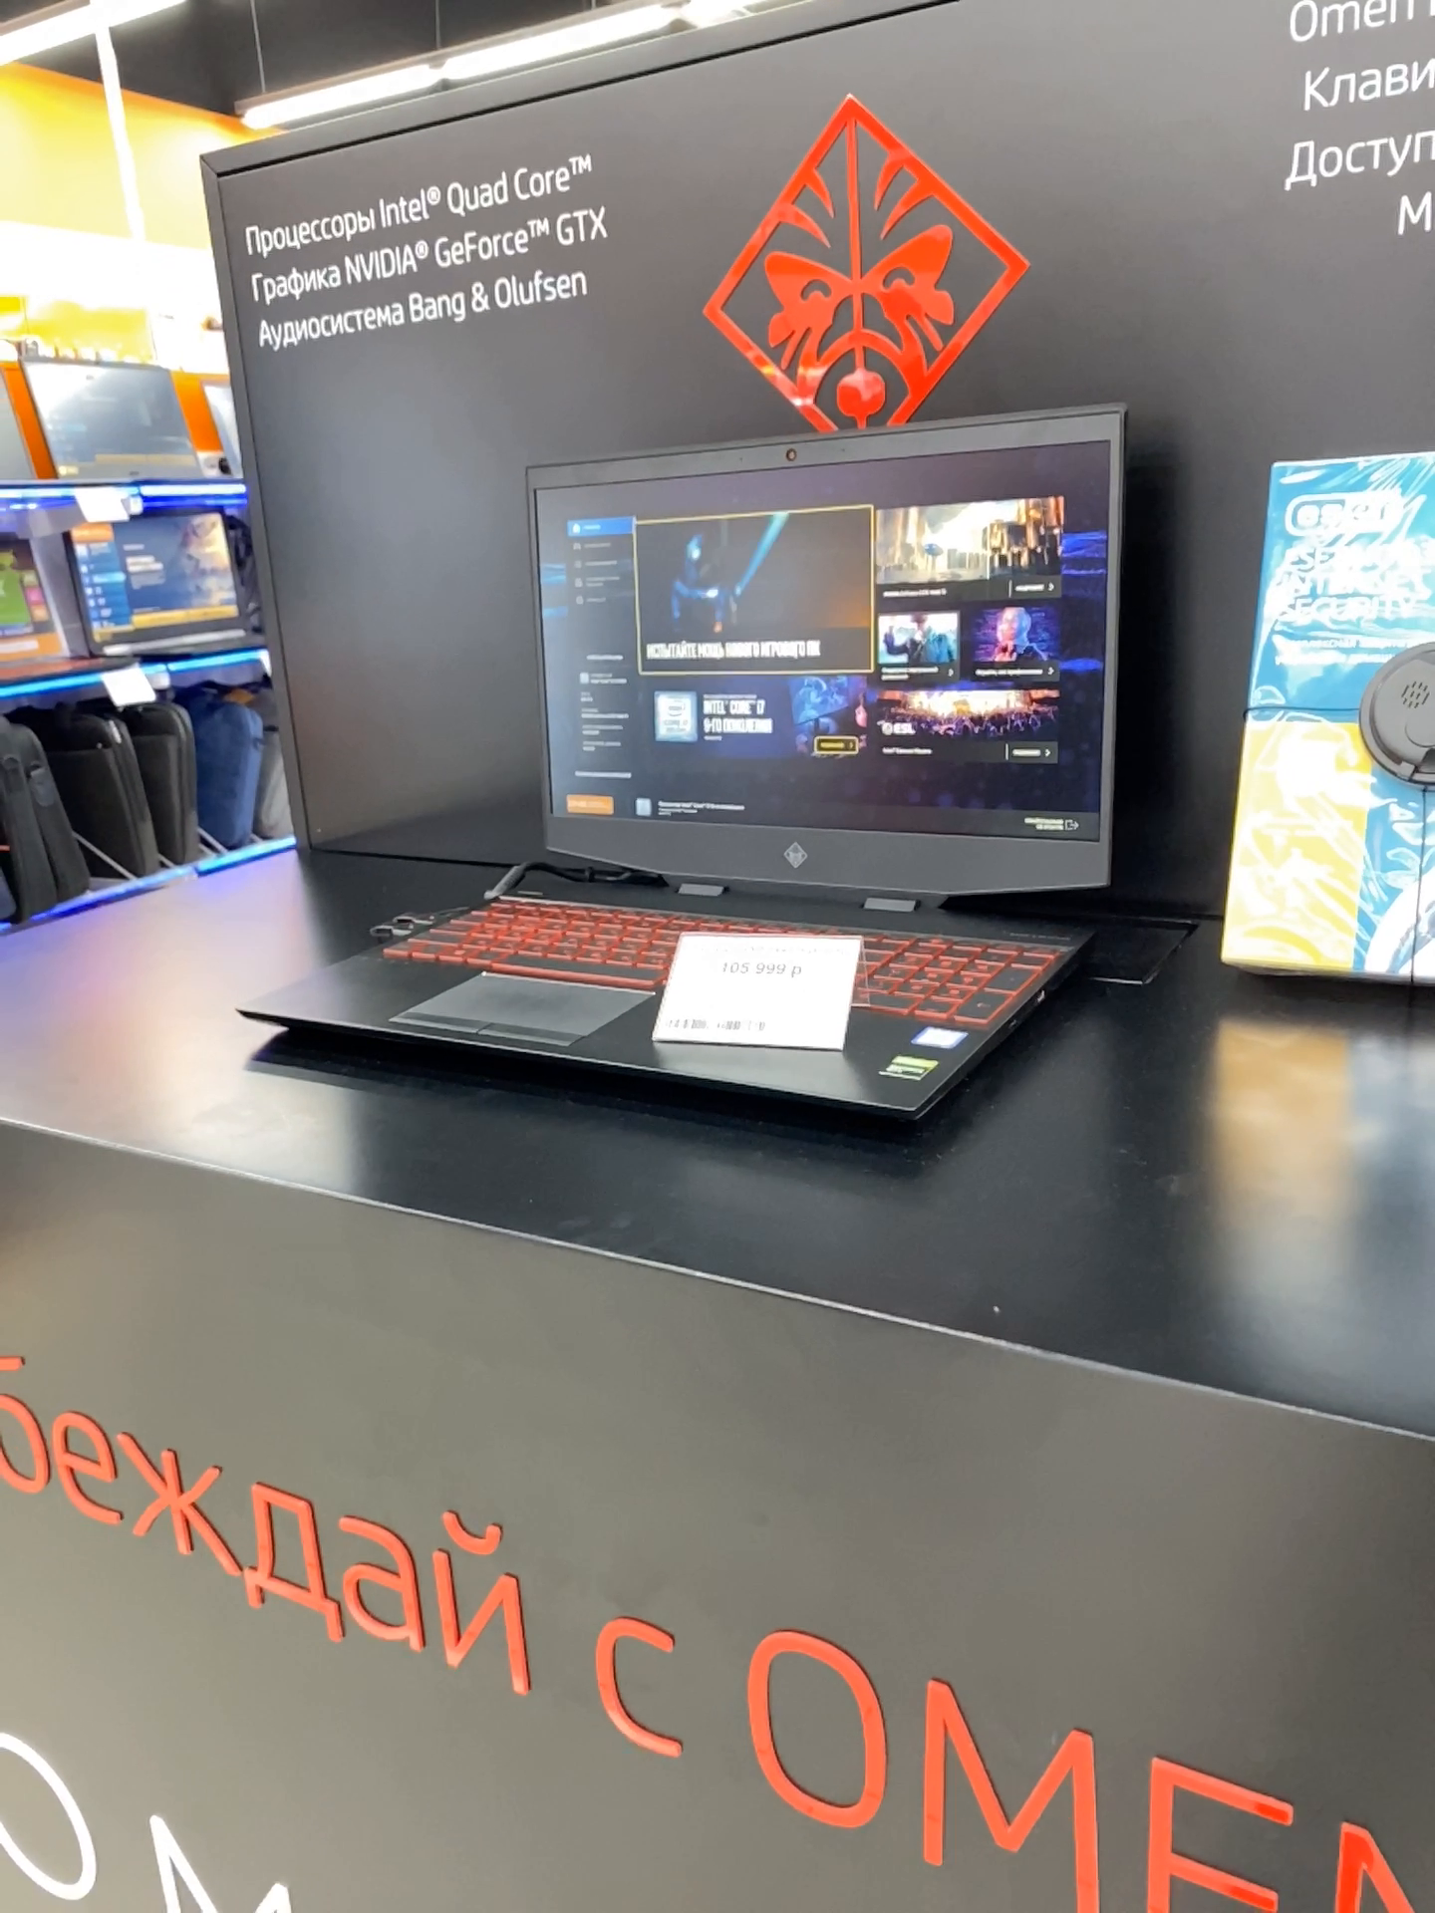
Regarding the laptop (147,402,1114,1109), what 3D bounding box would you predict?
[{"bbox_3d":[-0.021,-0.123,0.726,0.359,0.247,0.302,5,19,29],"label":"laptop"}]
